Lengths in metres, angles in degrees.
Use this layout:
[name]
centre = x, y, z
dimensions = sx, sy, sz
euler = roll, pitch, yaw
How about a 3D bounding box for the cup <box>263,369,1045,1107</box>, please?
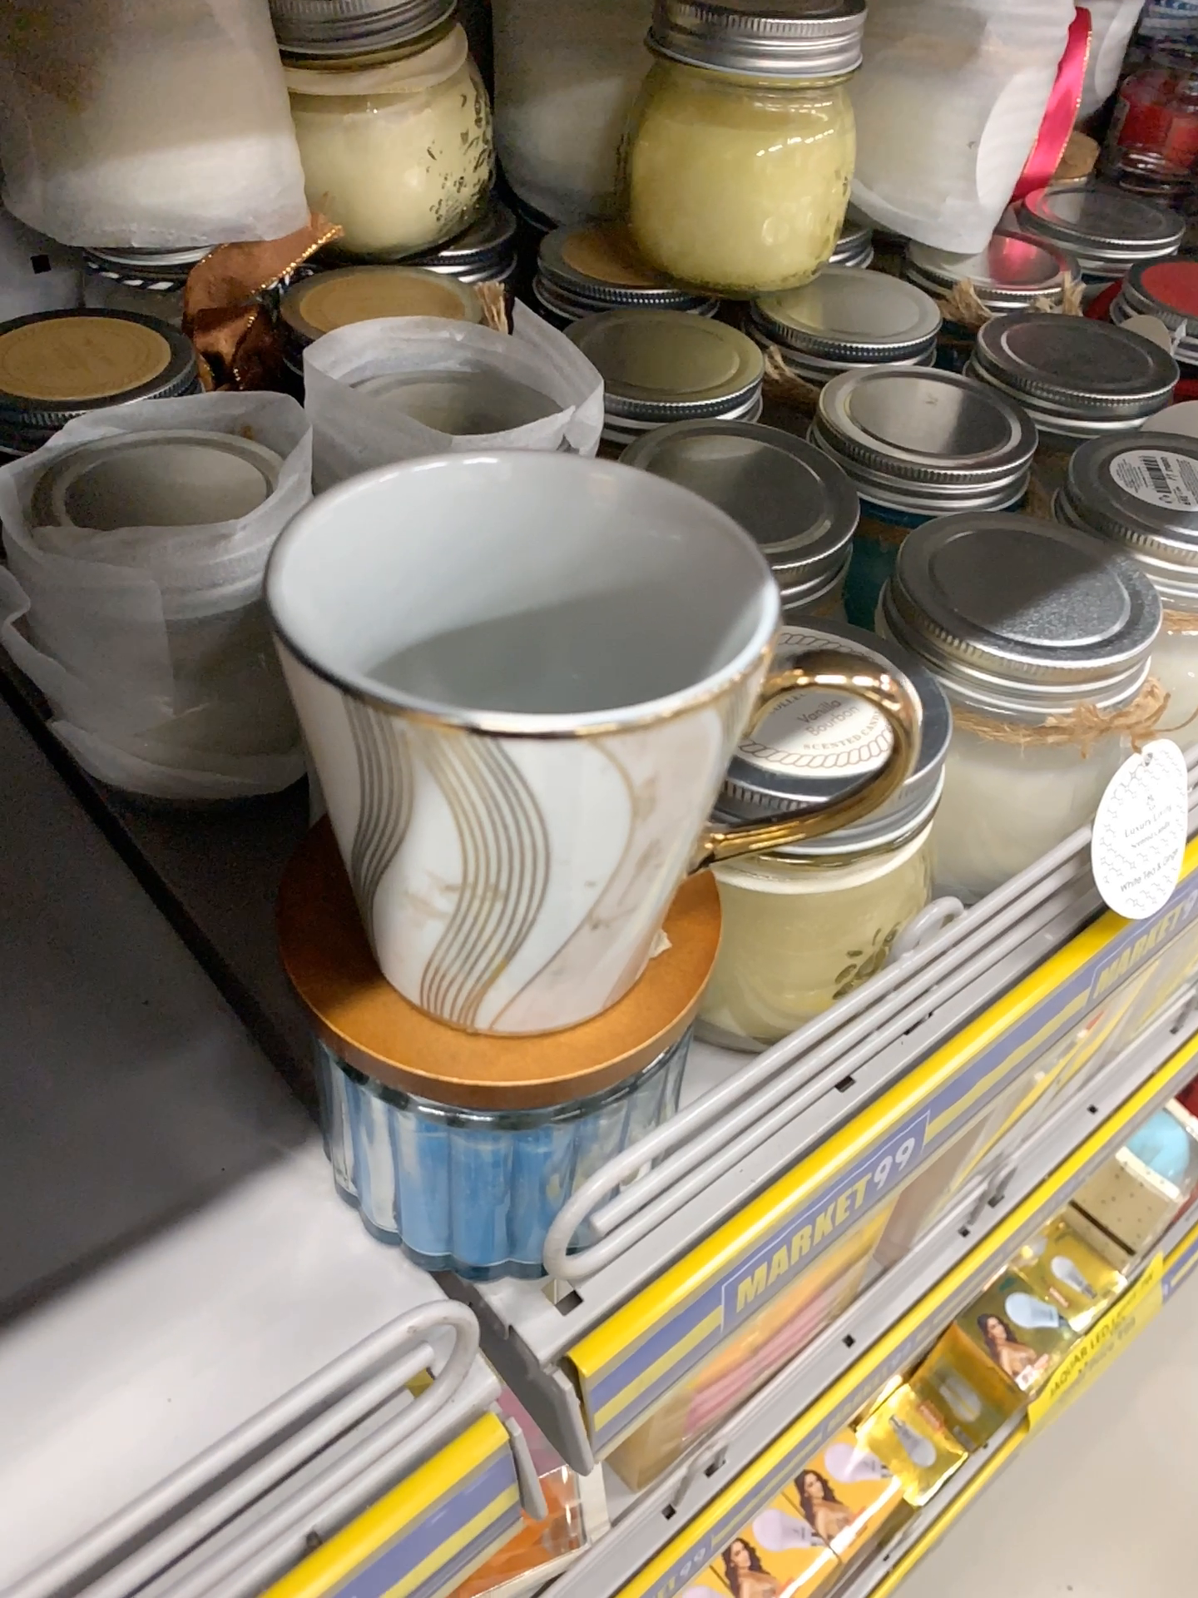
[cup]
centre = 0.006, -0.009, 0.194
dimensions = 0.090, 0.080, 0.070
euler = 7, 44, 0
